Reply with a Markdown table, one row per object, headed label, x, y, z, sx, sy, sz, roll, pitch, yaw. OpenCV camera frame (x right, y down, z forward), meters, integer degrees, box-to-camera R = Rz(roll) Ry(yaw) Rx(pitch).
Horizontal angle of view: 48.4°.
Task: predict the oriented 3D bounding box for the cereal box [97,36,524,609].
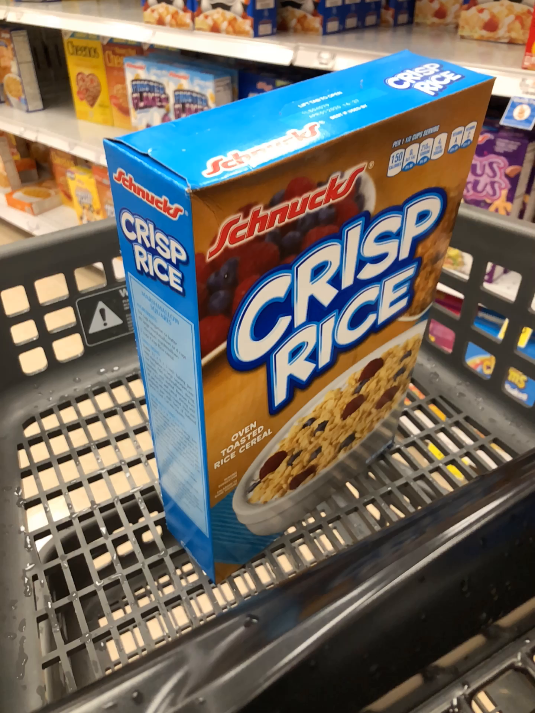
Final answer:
| label | x | y | z | sx | sy | sz | roll | pitch | yaw |
| --- | --- | --- | --- | --- | --- | --- | --- | --- | --- |
| cereal box | 0.030 | -0.009 | 0.368 | 0.220 | 0.299 | 0.060 | -32 | 52 | -33 |
